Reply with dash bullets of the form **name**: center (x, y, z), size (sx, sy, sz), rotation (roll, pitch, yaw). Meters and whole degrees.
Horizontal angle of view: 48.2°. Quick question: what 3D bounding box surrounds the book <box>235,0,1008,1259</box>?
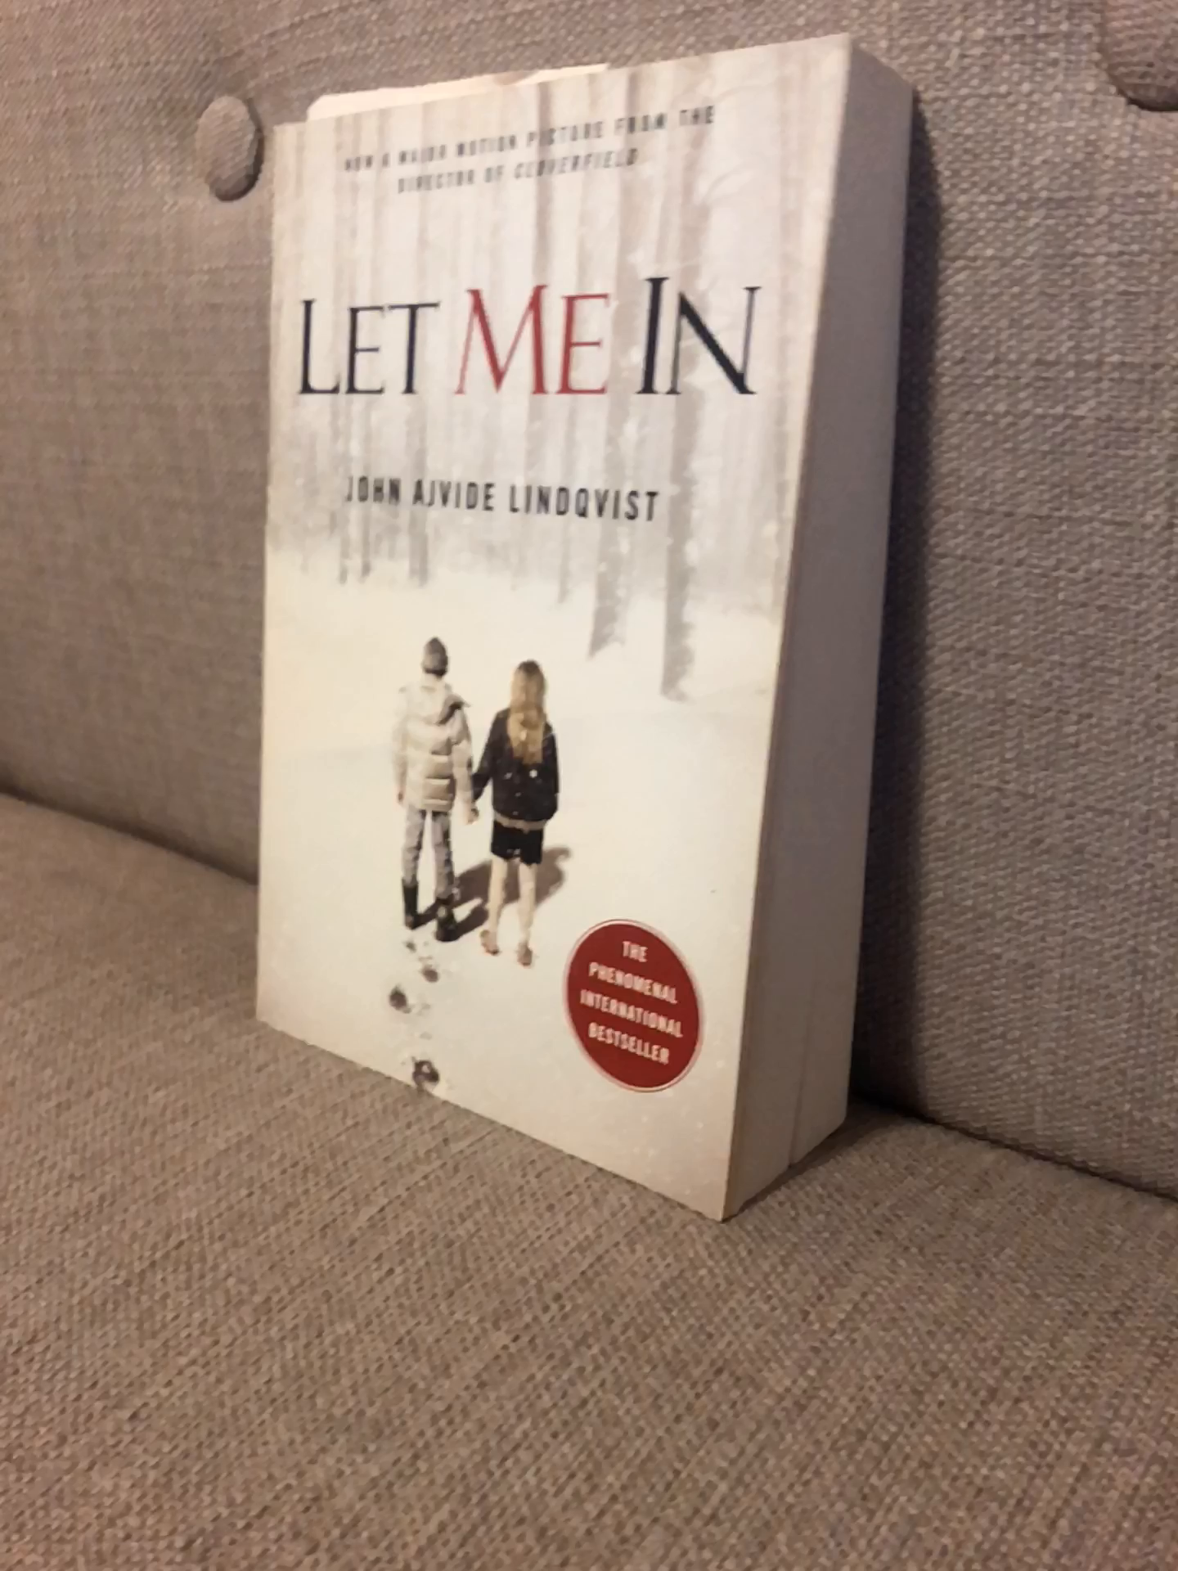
- **book**: center (-0.006, -0.036, 0.281), size (0.147, 0.216, 0.043), rotation (13, 12, 36)
